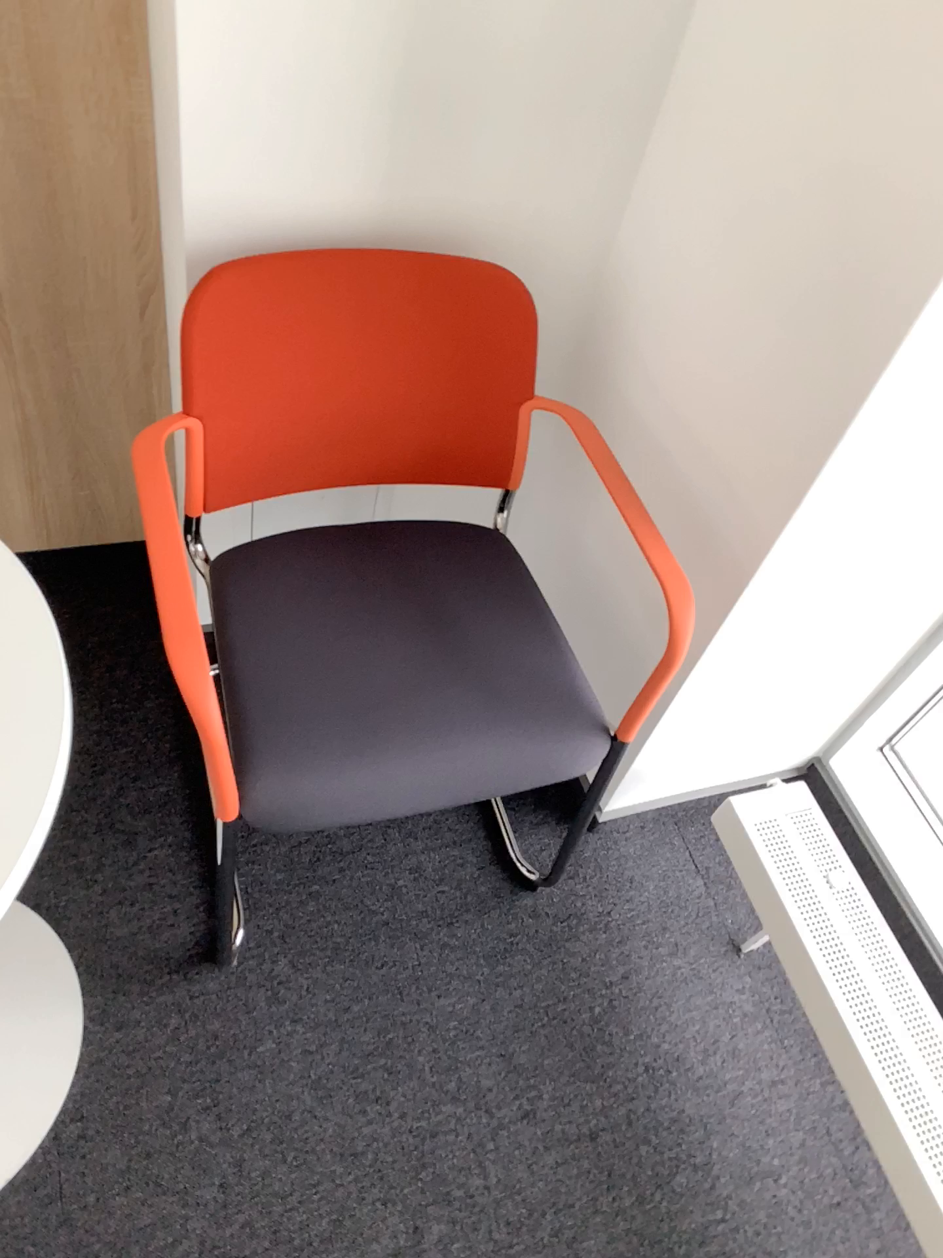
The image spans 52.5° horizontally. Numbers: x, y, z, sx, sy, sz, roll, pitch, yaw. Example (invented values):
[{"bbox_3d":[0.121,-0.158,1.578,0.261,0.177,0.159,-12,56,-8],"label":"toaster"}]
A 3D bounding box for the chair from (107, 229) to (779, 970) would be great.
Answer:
[{"bbox_3d":[-0.125,-0.015,1.284,0.571,0.776,0.562,-7,54,-19],"label":"chair"}]
